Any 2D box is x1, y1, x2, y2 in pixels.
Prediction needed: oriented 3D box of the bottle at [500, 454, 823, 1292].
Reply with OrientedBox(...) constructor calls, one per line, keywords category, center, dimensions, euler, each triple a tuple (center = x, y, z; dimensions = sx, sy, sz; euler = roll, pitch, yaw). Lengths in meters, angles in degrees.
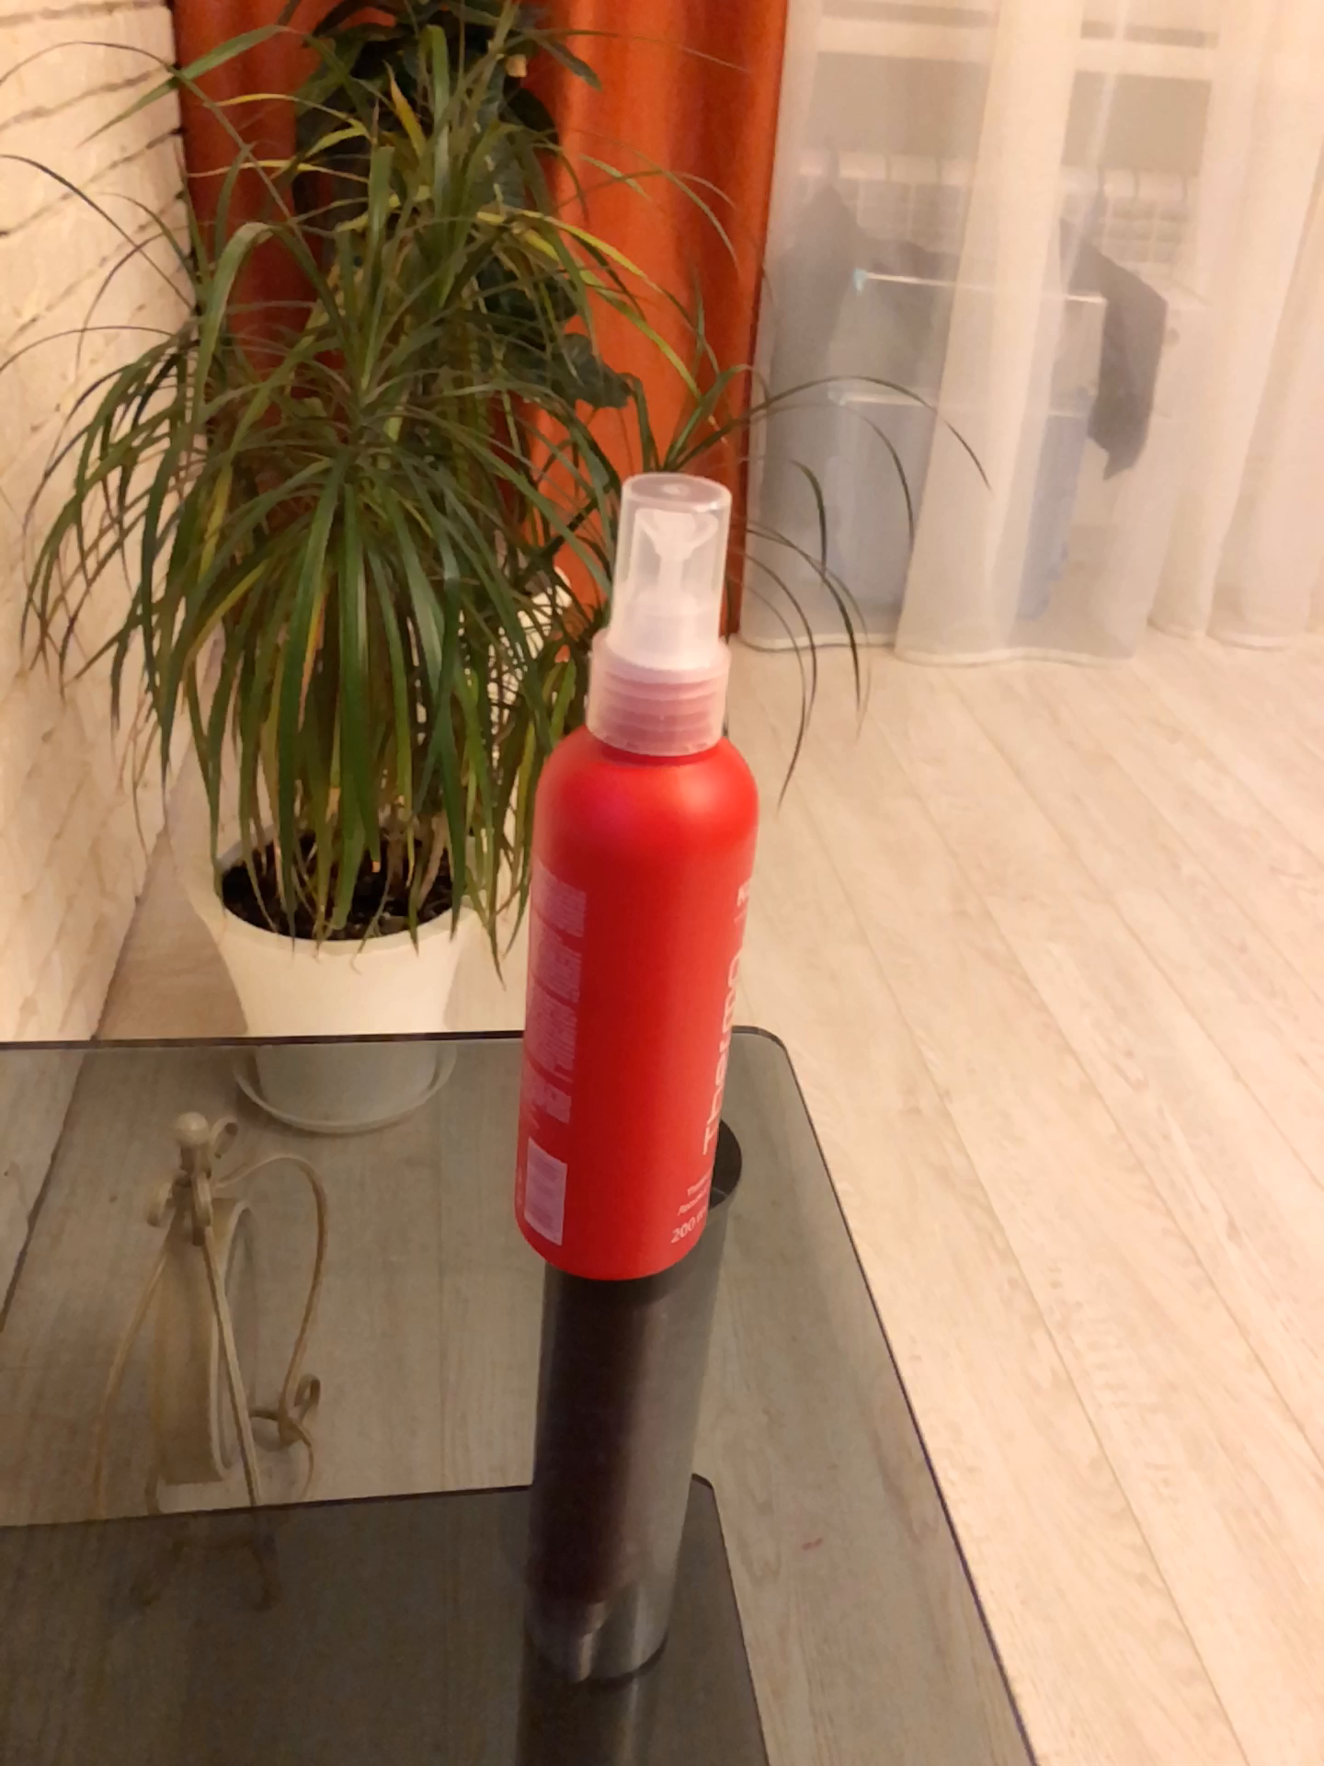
OrientedBox(category="bottle", center=(-0.006, 0.006, 0.314), dimensions=(0.052, 0.179, 0.048), euler=(4, 30, -2))
